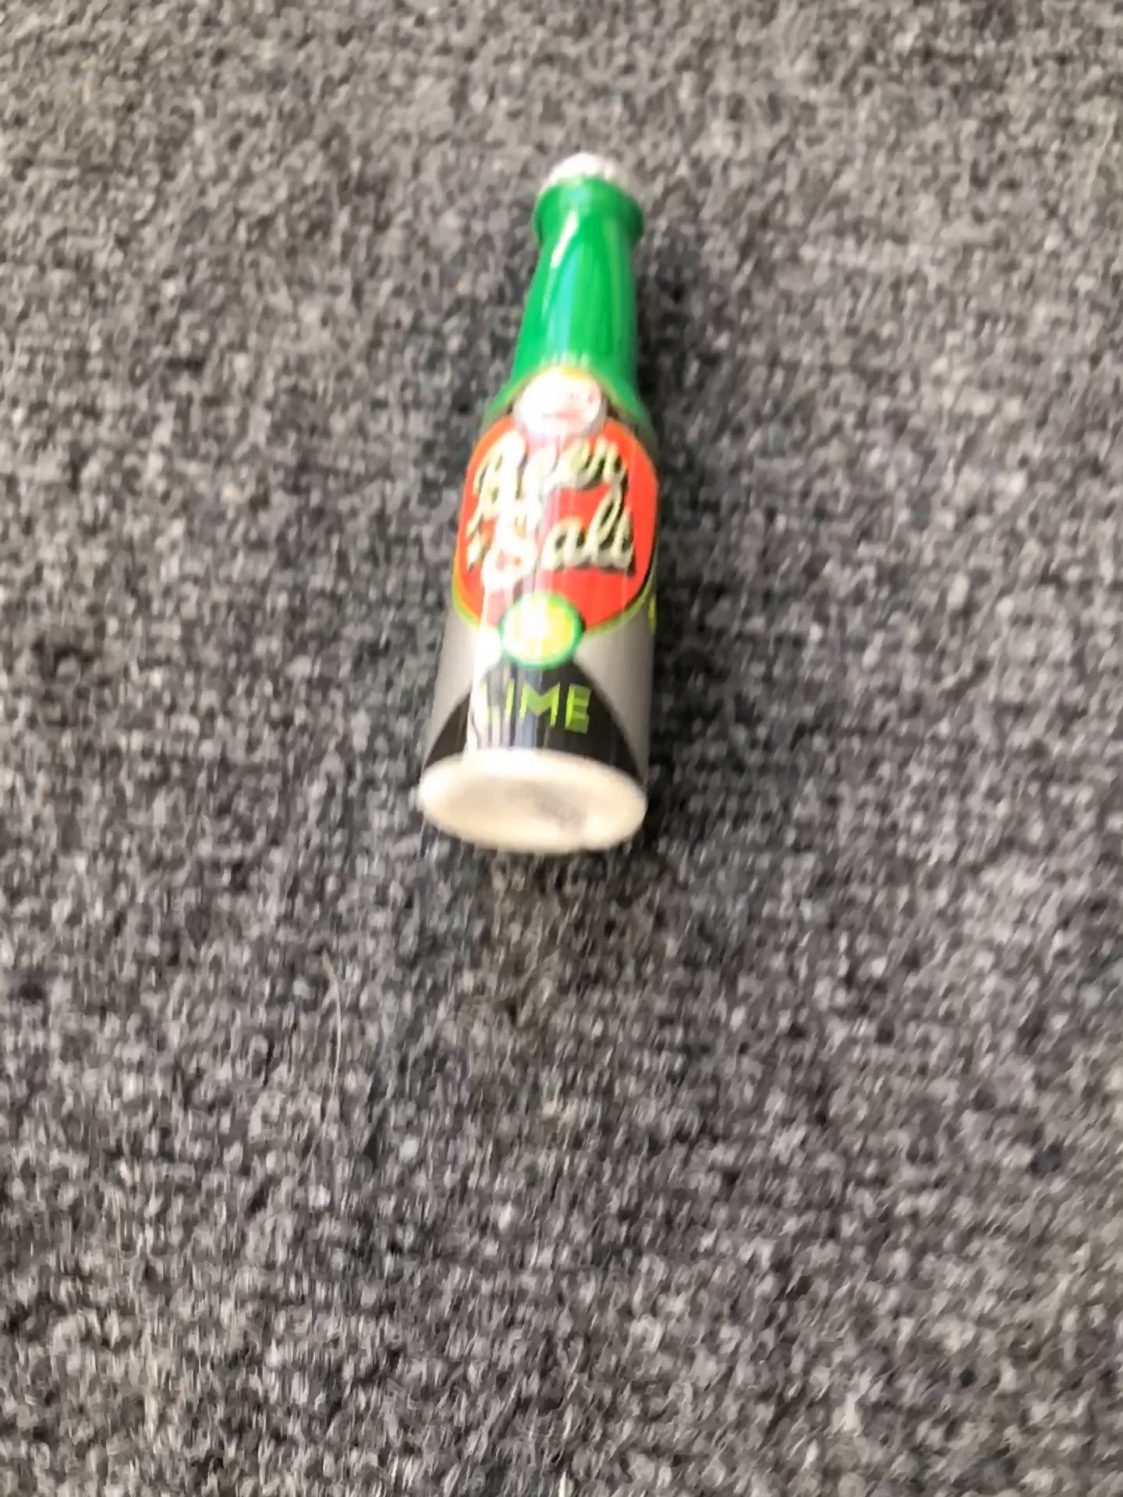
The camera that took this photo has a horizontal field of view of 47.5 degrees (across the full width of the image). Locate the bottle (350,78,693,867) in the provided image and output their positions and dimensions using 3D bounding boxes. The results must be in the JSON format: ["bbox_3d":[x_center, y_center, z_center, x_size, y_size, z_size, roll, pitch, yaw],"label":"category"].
[{"bbox_3d":[-0.003,-0.038,0.169,0.033,0.030,0.101,5,67,1],"label":"bottle"}]
